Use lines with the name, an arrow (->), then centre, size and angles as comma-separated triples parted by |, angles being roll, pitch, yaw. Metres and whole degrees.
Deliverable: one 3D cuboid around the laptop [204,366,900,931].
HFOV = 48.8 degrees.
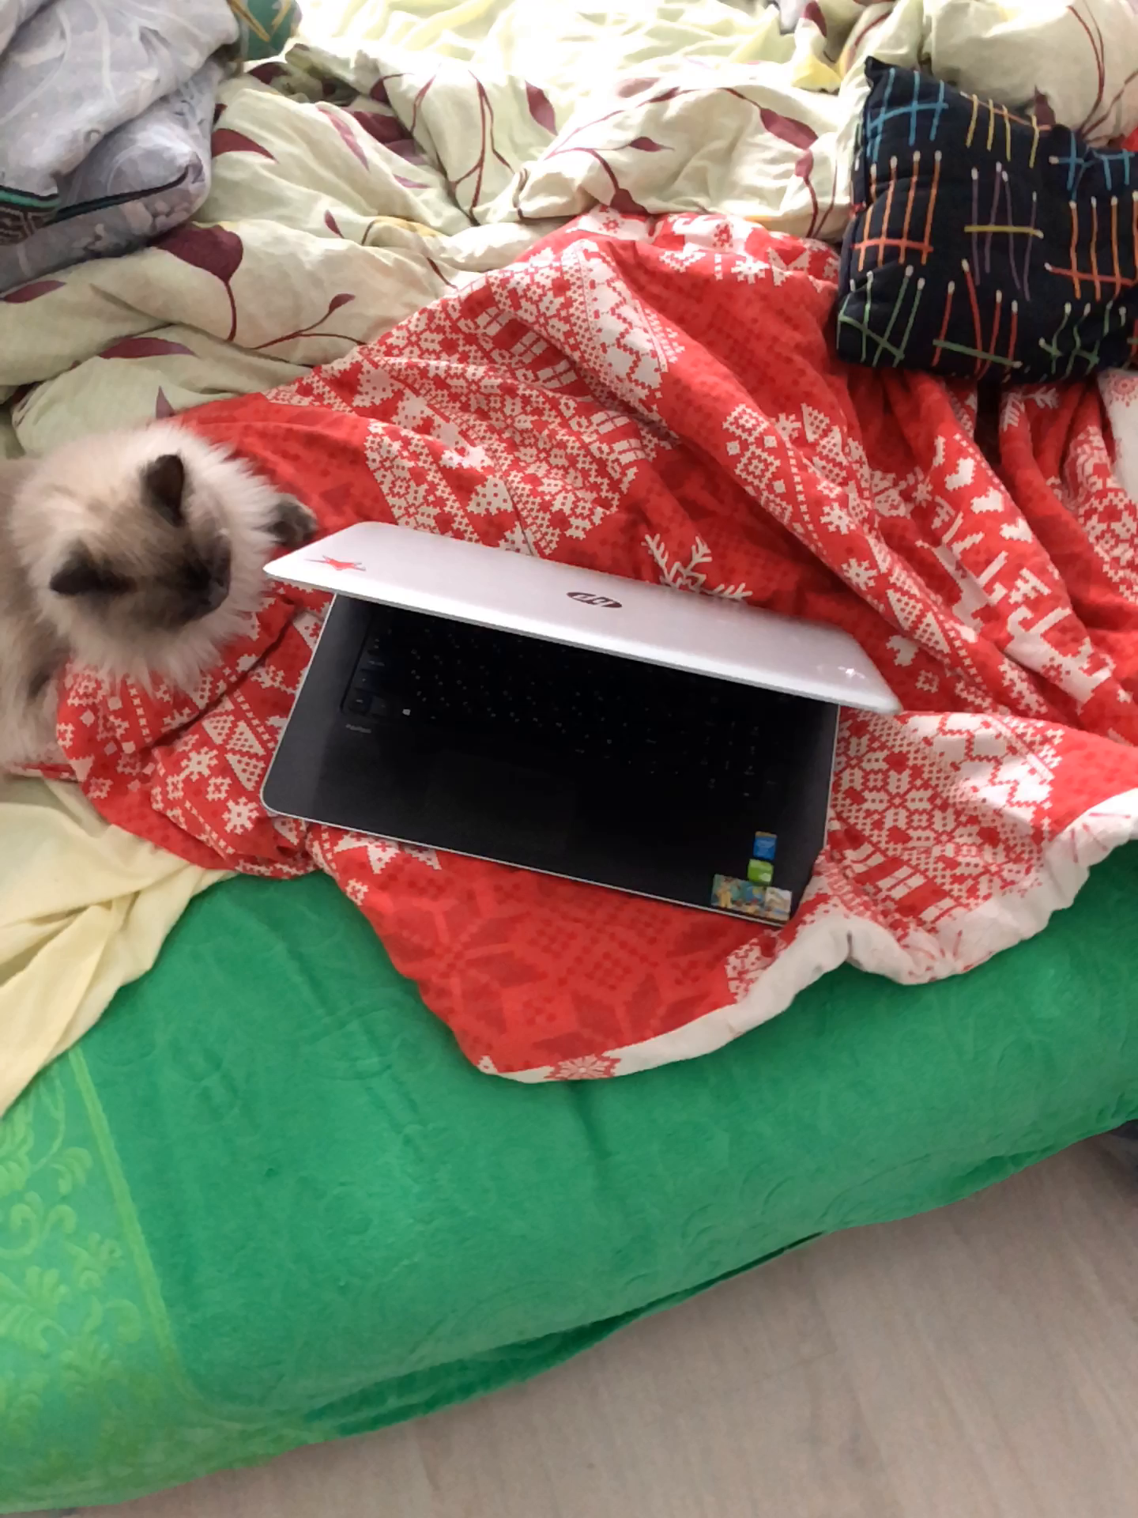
laptop -> 0.006, -0.081, 0.913 | 0.414, 0.176, 0.277 | 12, 60, 3
